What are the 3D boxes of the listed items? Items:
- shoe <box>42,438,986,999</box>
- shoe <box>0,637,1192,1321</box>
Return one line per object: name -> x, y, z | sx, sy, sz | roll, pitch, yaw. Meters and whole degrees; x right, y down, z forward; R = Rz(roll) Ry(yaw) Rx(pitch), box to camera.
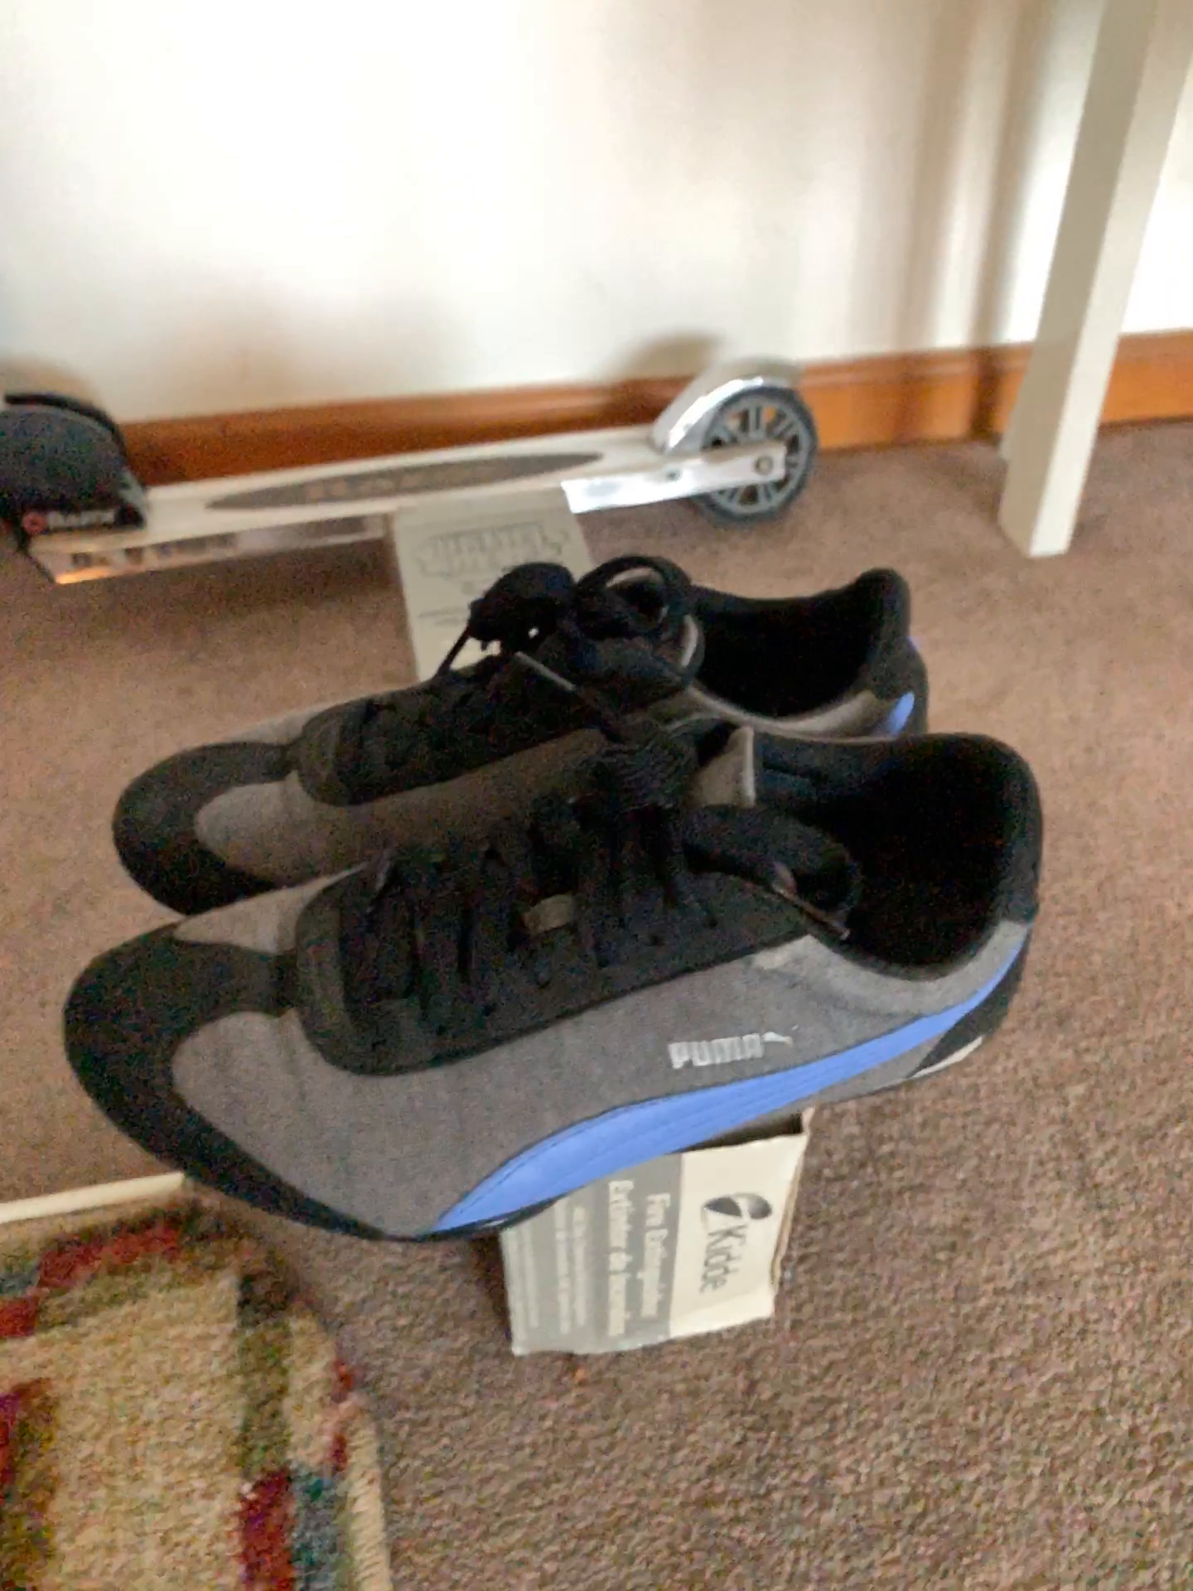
shoe -> -0.024, -0.029, 0.378 | 0.240, 0.077, 0.111 | -11, 43, -6
shoe -> -0.002, 0.037, 0.311 | 0.250, 0.077, 0.101 | -9, 38, -7
